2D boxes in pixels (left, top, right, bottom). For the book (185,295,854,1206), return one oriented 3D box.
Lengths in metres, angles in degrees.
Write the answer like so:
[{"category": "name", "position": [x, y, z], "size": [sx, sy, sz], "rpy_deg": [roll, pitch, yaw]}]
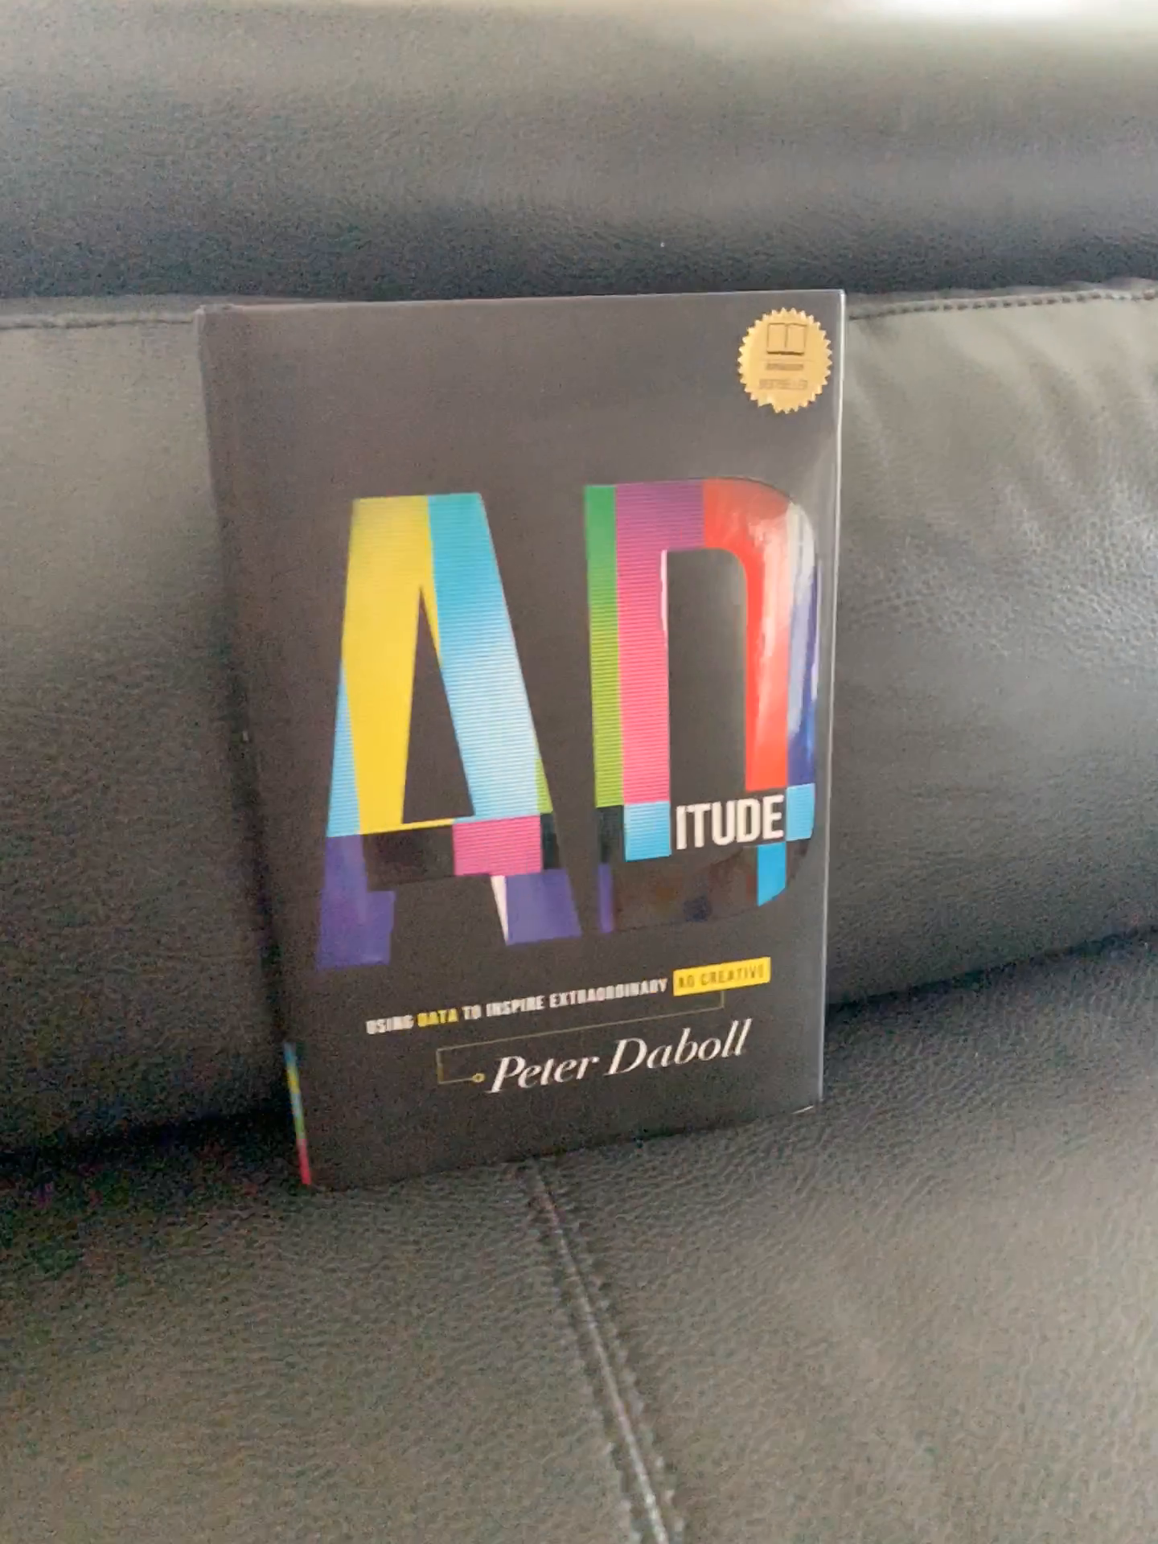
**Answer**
[{"category": "book", "position": [-0.007, -0.002, 0.328], "size": [0.160, 0.235, 0.025], "rpy_deg": [-6, 18, -11]}]
